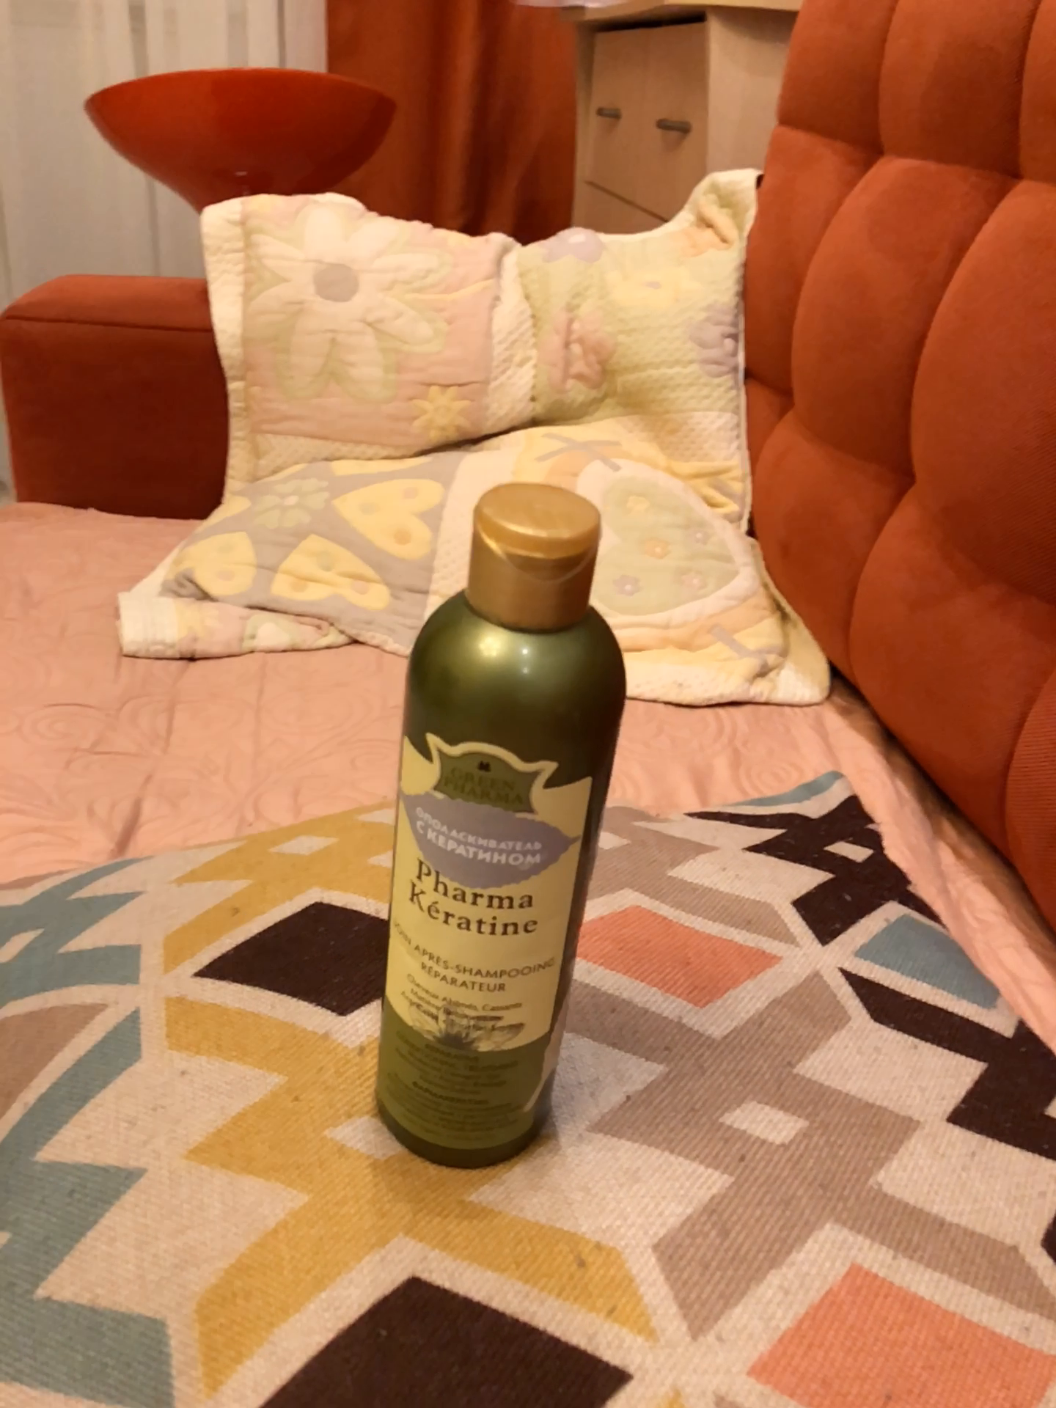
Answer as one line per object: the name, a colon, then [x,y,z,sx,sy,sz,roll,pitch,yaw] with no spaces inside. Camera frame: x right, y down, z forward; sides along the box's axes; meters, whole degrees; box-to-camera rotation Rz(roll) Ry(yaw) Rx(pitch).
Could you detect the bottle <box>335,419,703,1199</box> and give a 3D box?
bottle: [-0.005,0.030,0.295,0.060,0.179,0.071,13,30,10]
